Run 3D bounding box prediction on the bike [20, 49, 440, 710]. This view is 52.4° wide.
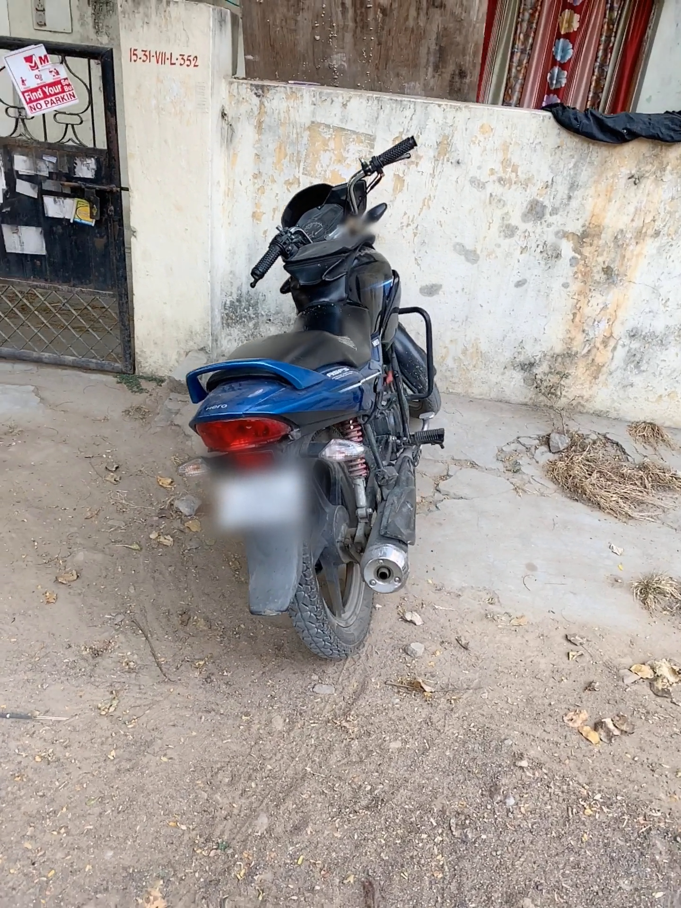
[{"bbox_3d":[-0.238,-0.454,2.196,0.754,1.233,1.712,6,33,0],"label":"bike"}]
